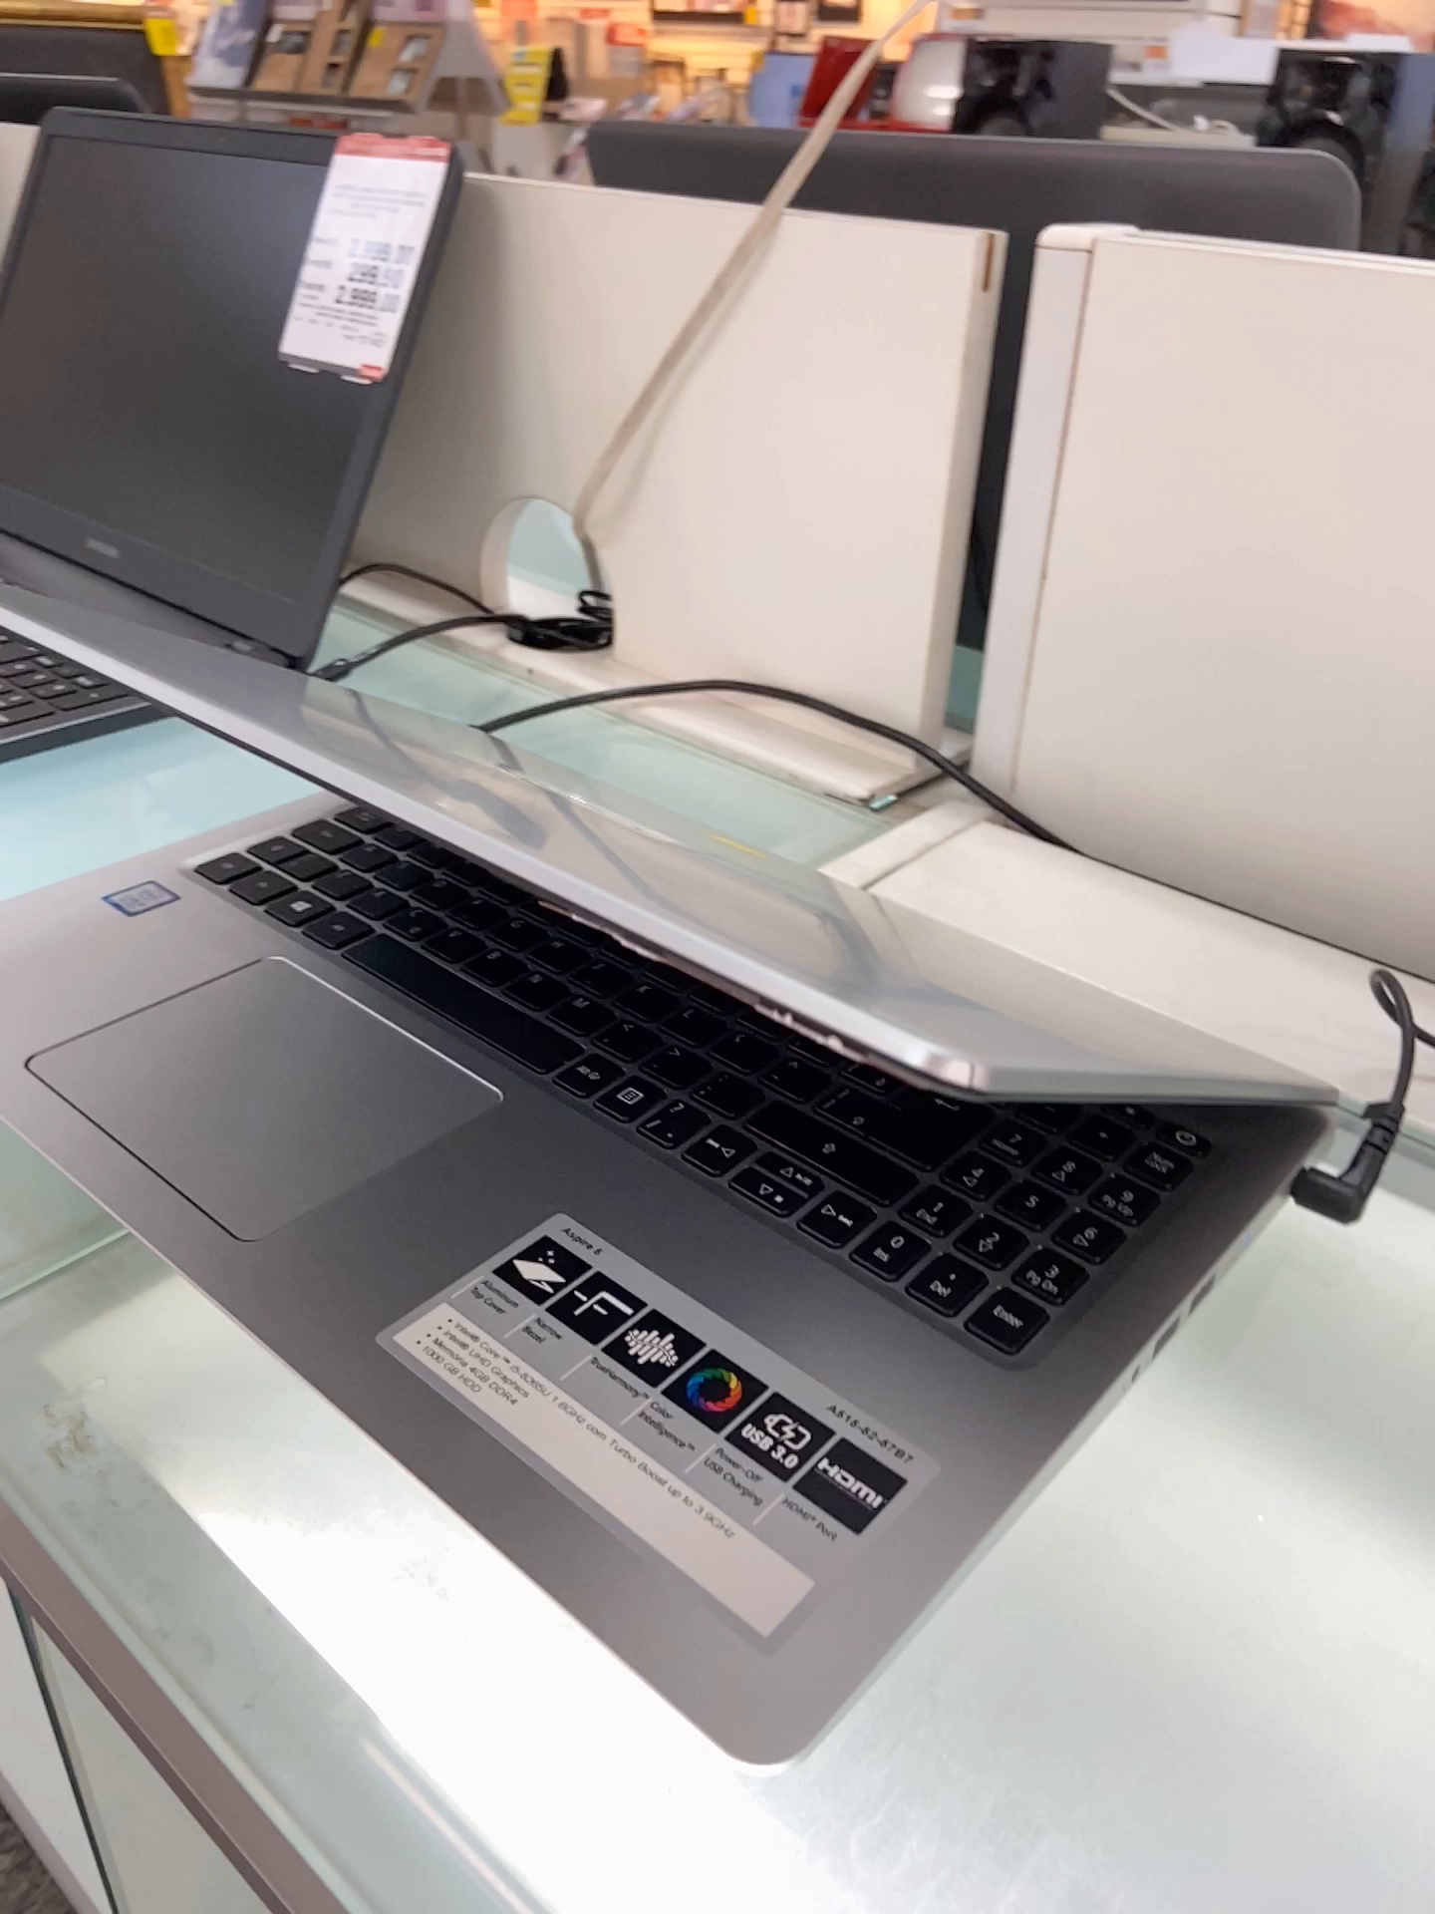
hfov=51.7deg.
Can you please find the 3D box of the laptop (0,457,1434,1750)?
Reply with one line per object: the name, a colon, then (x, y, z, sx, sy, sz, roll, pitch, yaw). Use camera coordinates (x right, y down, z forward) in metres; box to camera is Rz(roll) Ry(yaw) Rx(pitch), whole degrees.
laptop: (-0.049, -0.027, 0.397, 0.365, 0.116, 0.246, 25, 37, 33)
